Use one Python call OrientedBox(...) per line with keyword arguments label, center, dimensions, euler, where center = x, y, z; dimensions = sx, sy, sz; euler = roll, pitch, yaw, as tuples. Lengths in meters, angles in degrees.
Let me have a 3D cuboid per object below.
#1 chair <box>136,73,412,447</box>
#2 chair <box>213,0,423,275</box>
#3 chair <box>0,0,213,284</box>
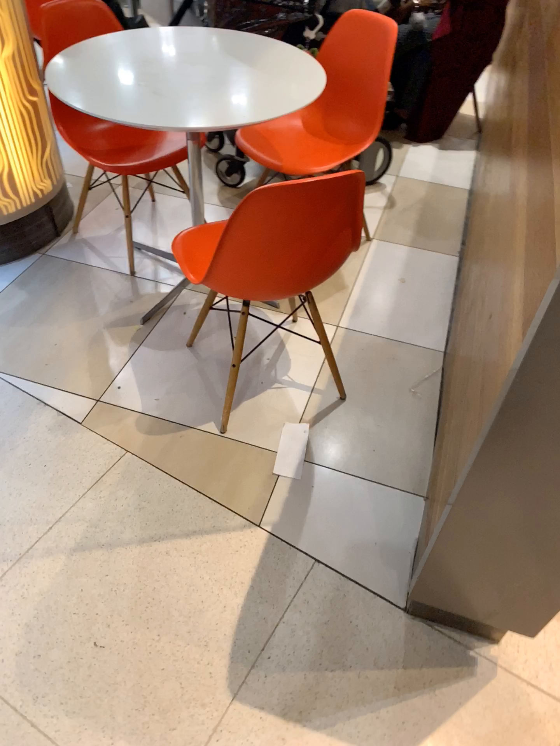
OrientedBox(label="chair", center=(-0.054, -0.291, 1.517), dimensions=(0.448, 0.742, 0.525), euler=(-14, 48, -17))
OrientedBox(label="chair", center=(0.111, -0.869, 2.109), dimensions=(0.523, 0.742, 0.450), euler=(-34, 56, -31))
OrientedBox(label="chair", center=(-0.589, -0.835, 2.038), dimensions=(0.513, 0.762, 0.450), euler=(34, 52, 26))
